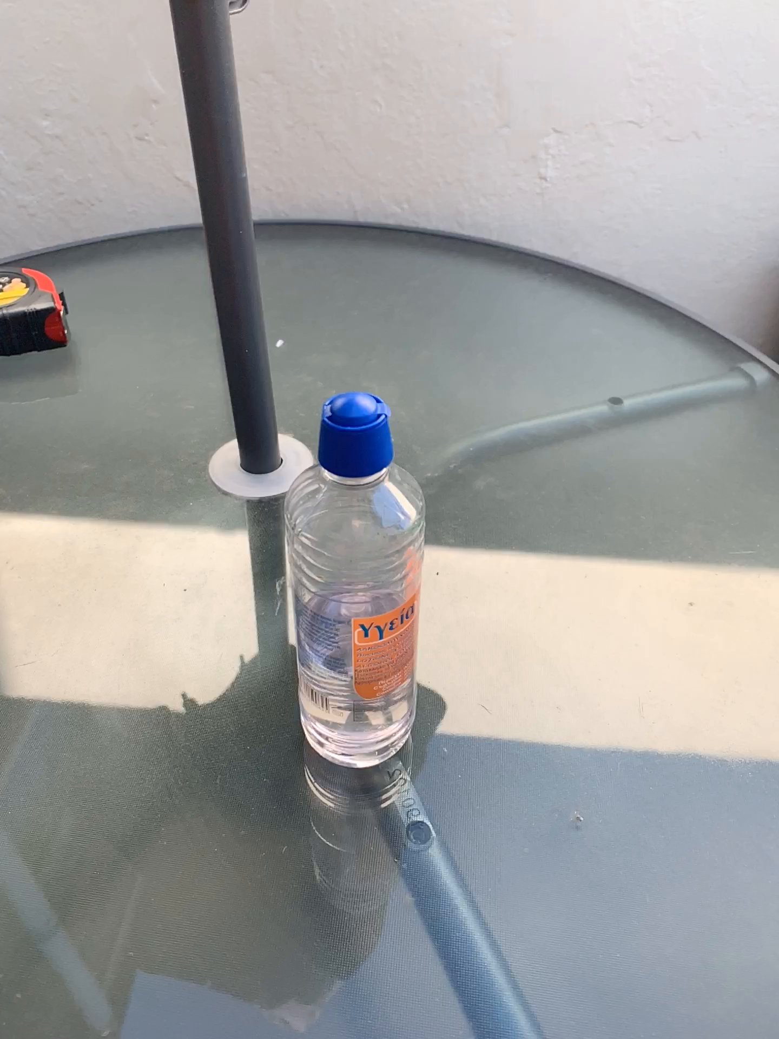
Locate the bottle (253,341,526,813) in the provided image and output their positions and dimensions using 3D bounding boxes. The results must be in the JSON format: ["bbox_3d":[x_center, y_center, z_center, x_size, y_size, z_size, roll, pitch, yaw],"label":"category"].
[{"bbox_3d":[0.000,0.026,0.296,0.060,0.158,0.060,1,39,-1],"label":"bottle"}]
